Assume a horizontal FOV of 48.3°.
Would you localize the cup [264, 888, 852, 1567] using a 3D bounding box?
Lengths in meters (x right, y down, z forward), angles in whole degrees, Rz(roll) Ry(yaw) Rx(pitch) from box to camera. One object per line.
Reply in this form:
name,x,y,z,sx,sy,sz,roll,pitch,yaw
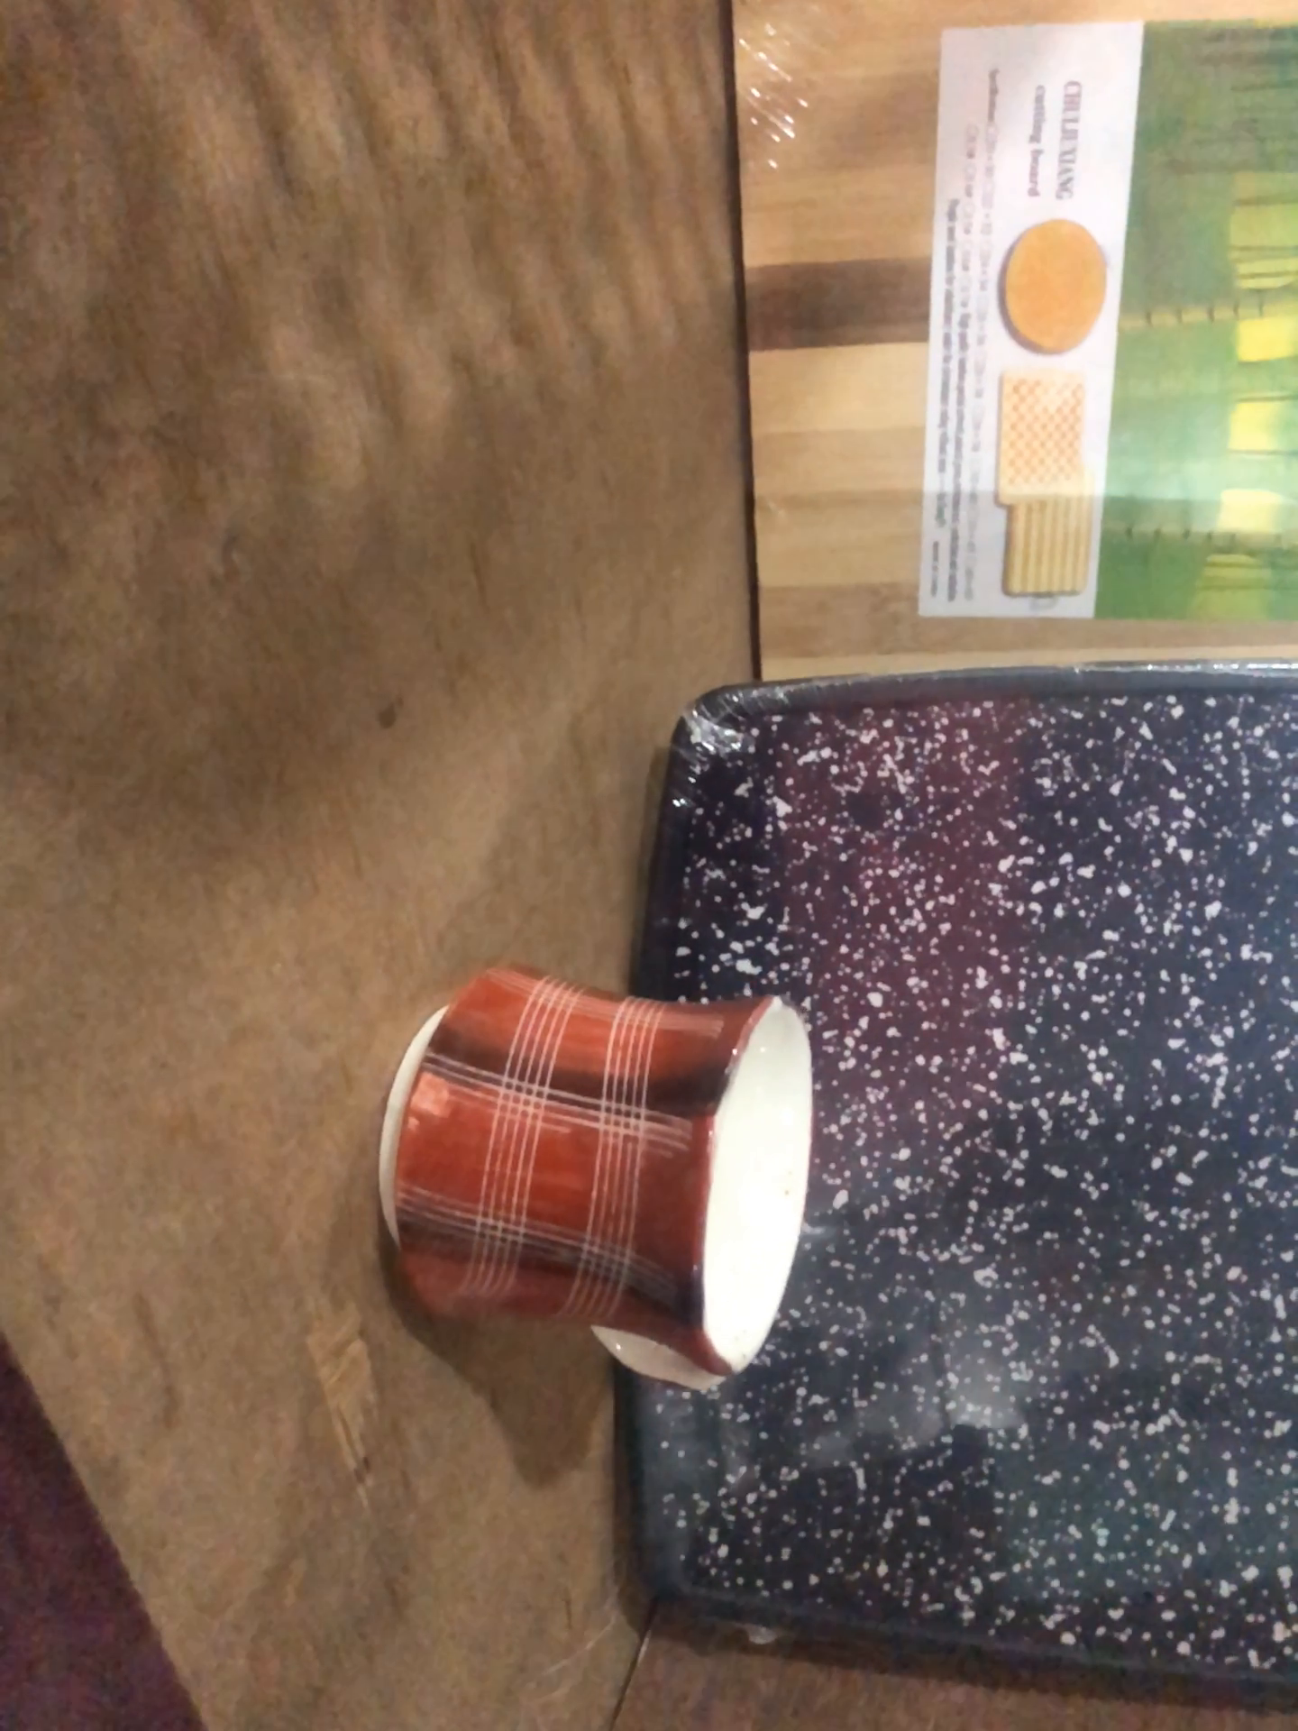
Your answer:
cup,-0.008,0.060,0.242,0.060,0.060,0.090,-62,148,-44
